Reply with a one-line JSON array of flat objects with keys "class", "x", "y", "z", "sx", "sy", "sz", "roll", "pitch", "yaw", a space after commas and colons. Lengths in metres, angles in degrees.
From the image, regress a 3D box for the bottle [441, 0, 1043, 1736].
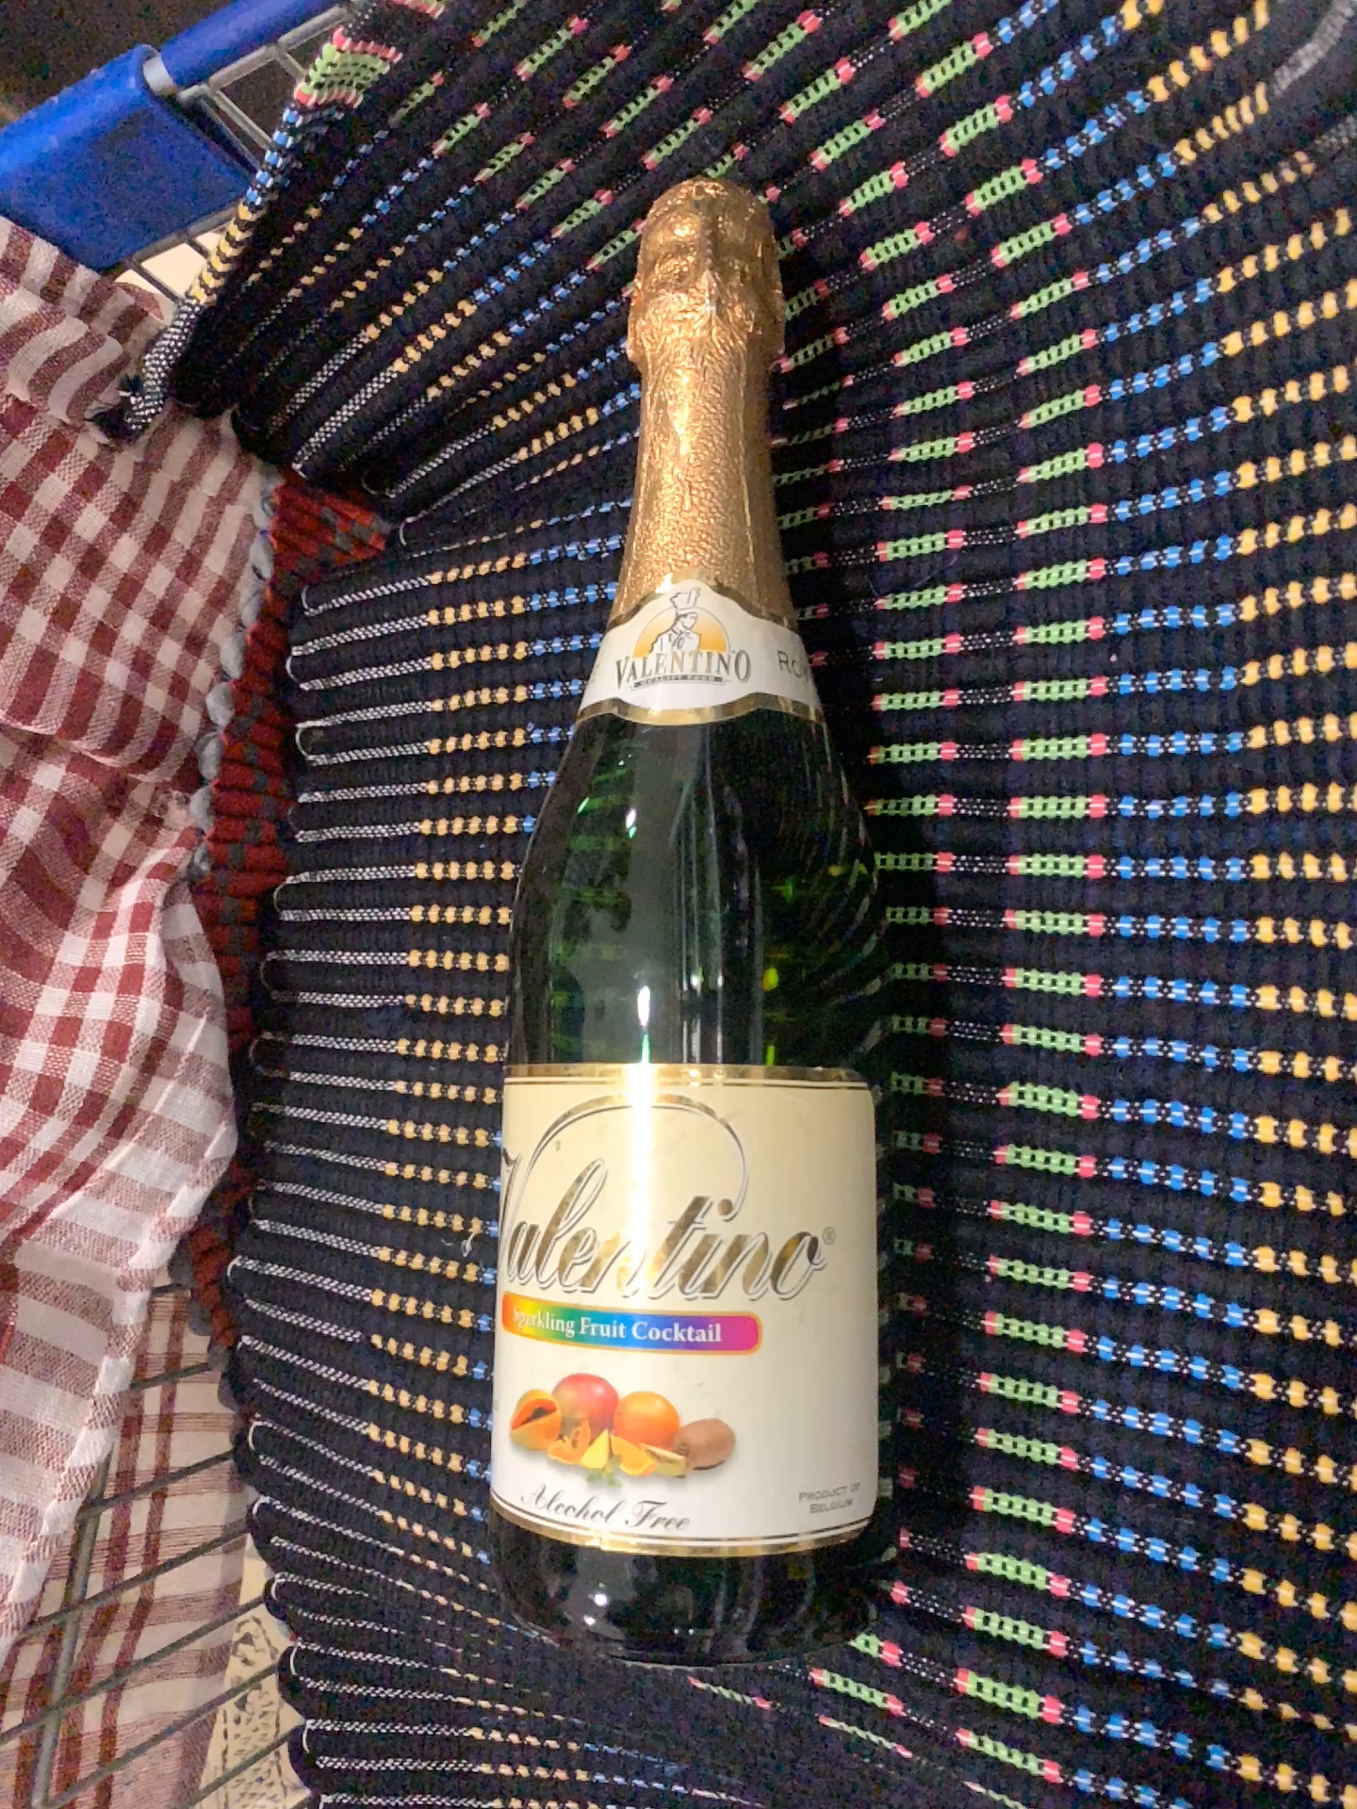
[{"class": "bottle", "x": 0.021, "y": -0.035, "z": 0.301, "sx": 0.090, "sy": 0.080, "sz": 0.350, "roll": -4, "pitch": 78, "yaw": 30}]
